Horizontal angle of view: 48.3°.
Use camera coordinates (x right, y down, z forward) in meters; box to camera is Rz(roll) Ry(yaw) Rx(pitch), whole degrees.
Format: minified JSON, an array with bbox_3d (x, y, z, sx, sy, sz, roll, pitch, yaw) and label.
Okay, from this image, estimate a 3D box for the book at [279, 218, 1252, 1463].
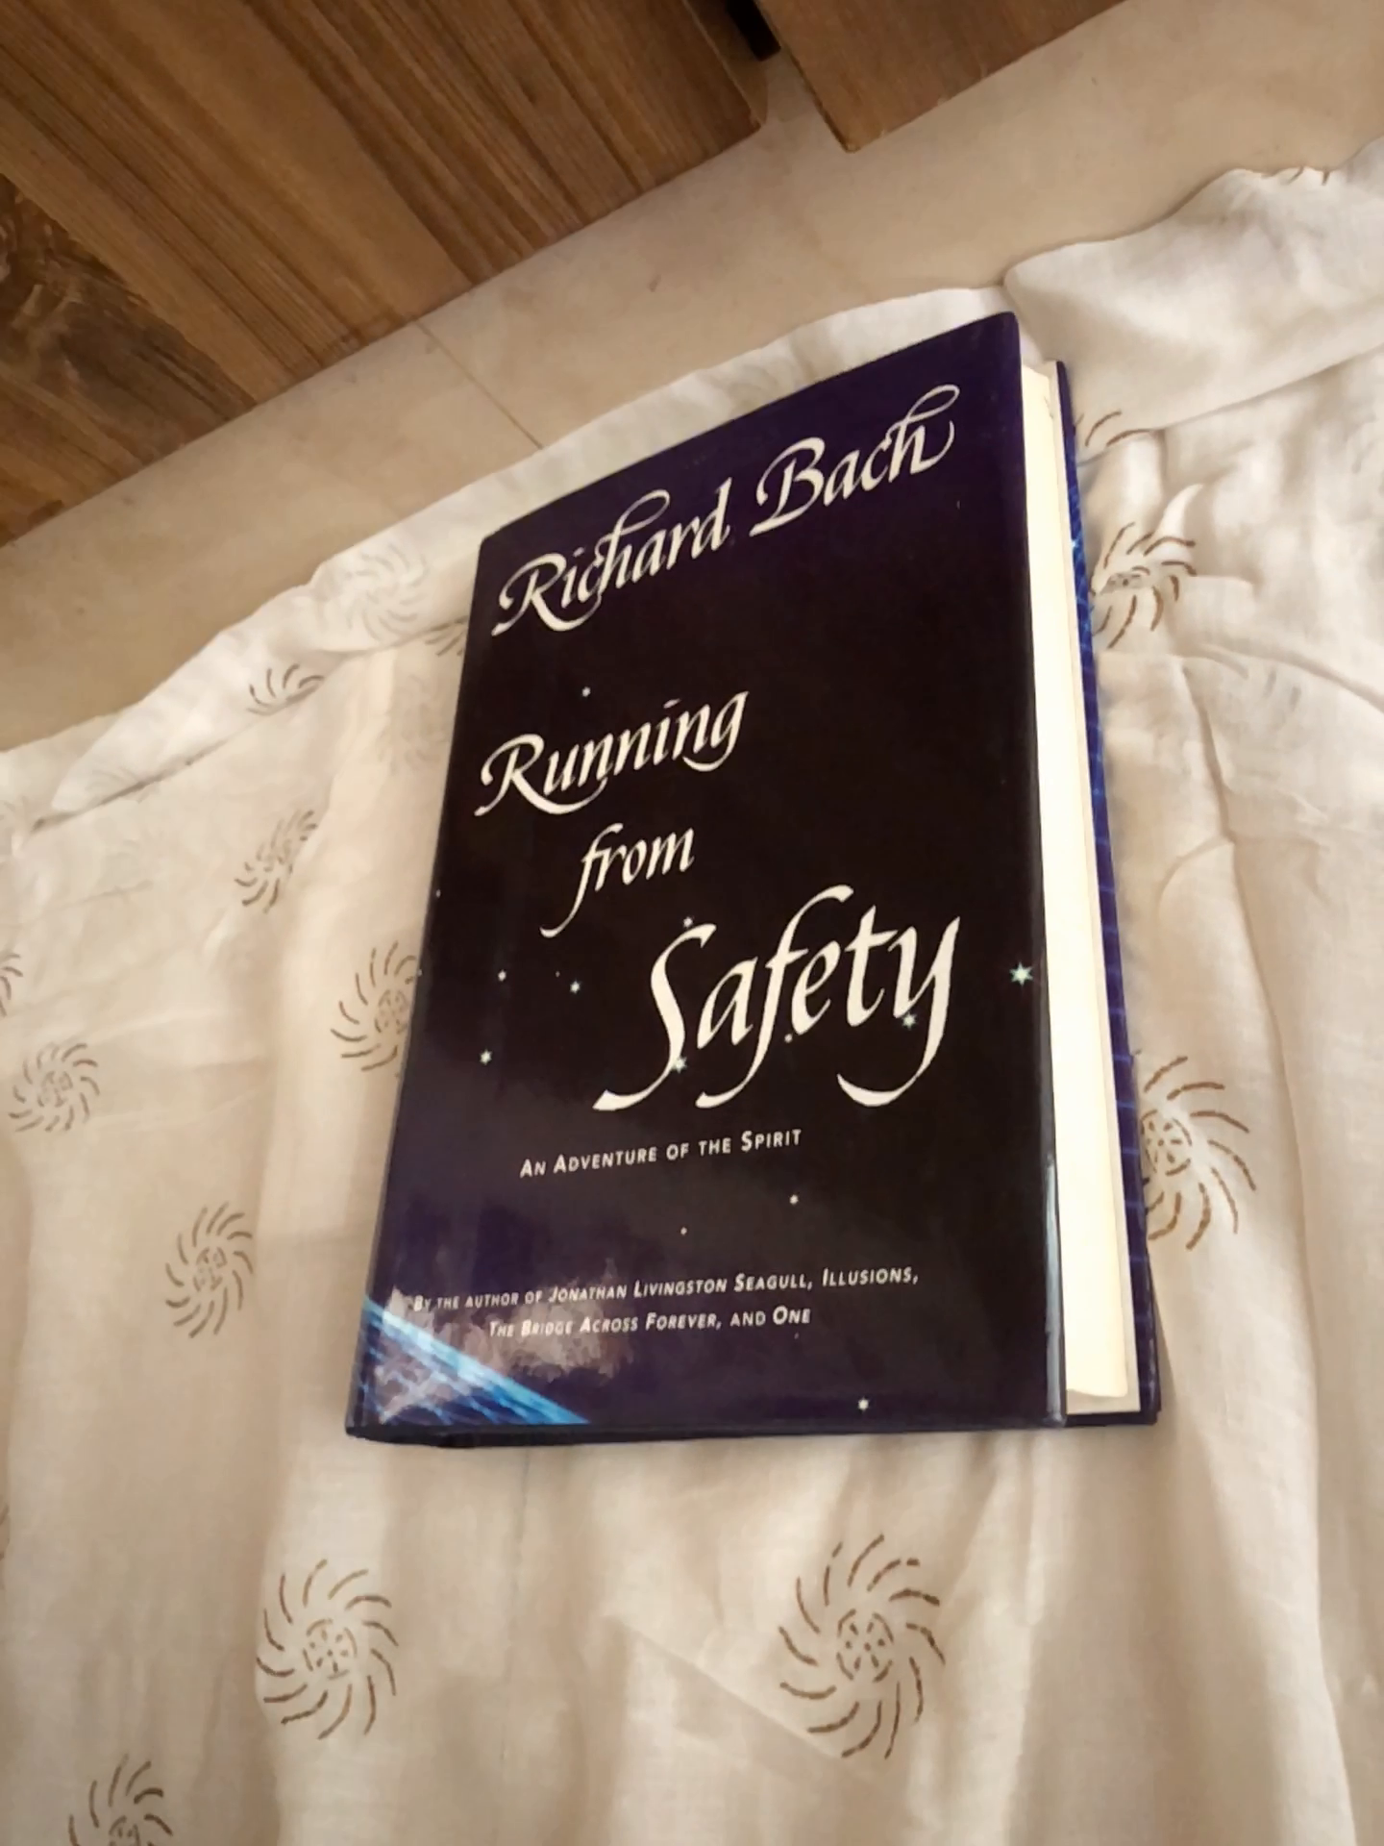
[{"bbox_3d":[0.012,-0.021,0.331,0.170,0.040,0.250,-12,58,25],"label":"book"}]
